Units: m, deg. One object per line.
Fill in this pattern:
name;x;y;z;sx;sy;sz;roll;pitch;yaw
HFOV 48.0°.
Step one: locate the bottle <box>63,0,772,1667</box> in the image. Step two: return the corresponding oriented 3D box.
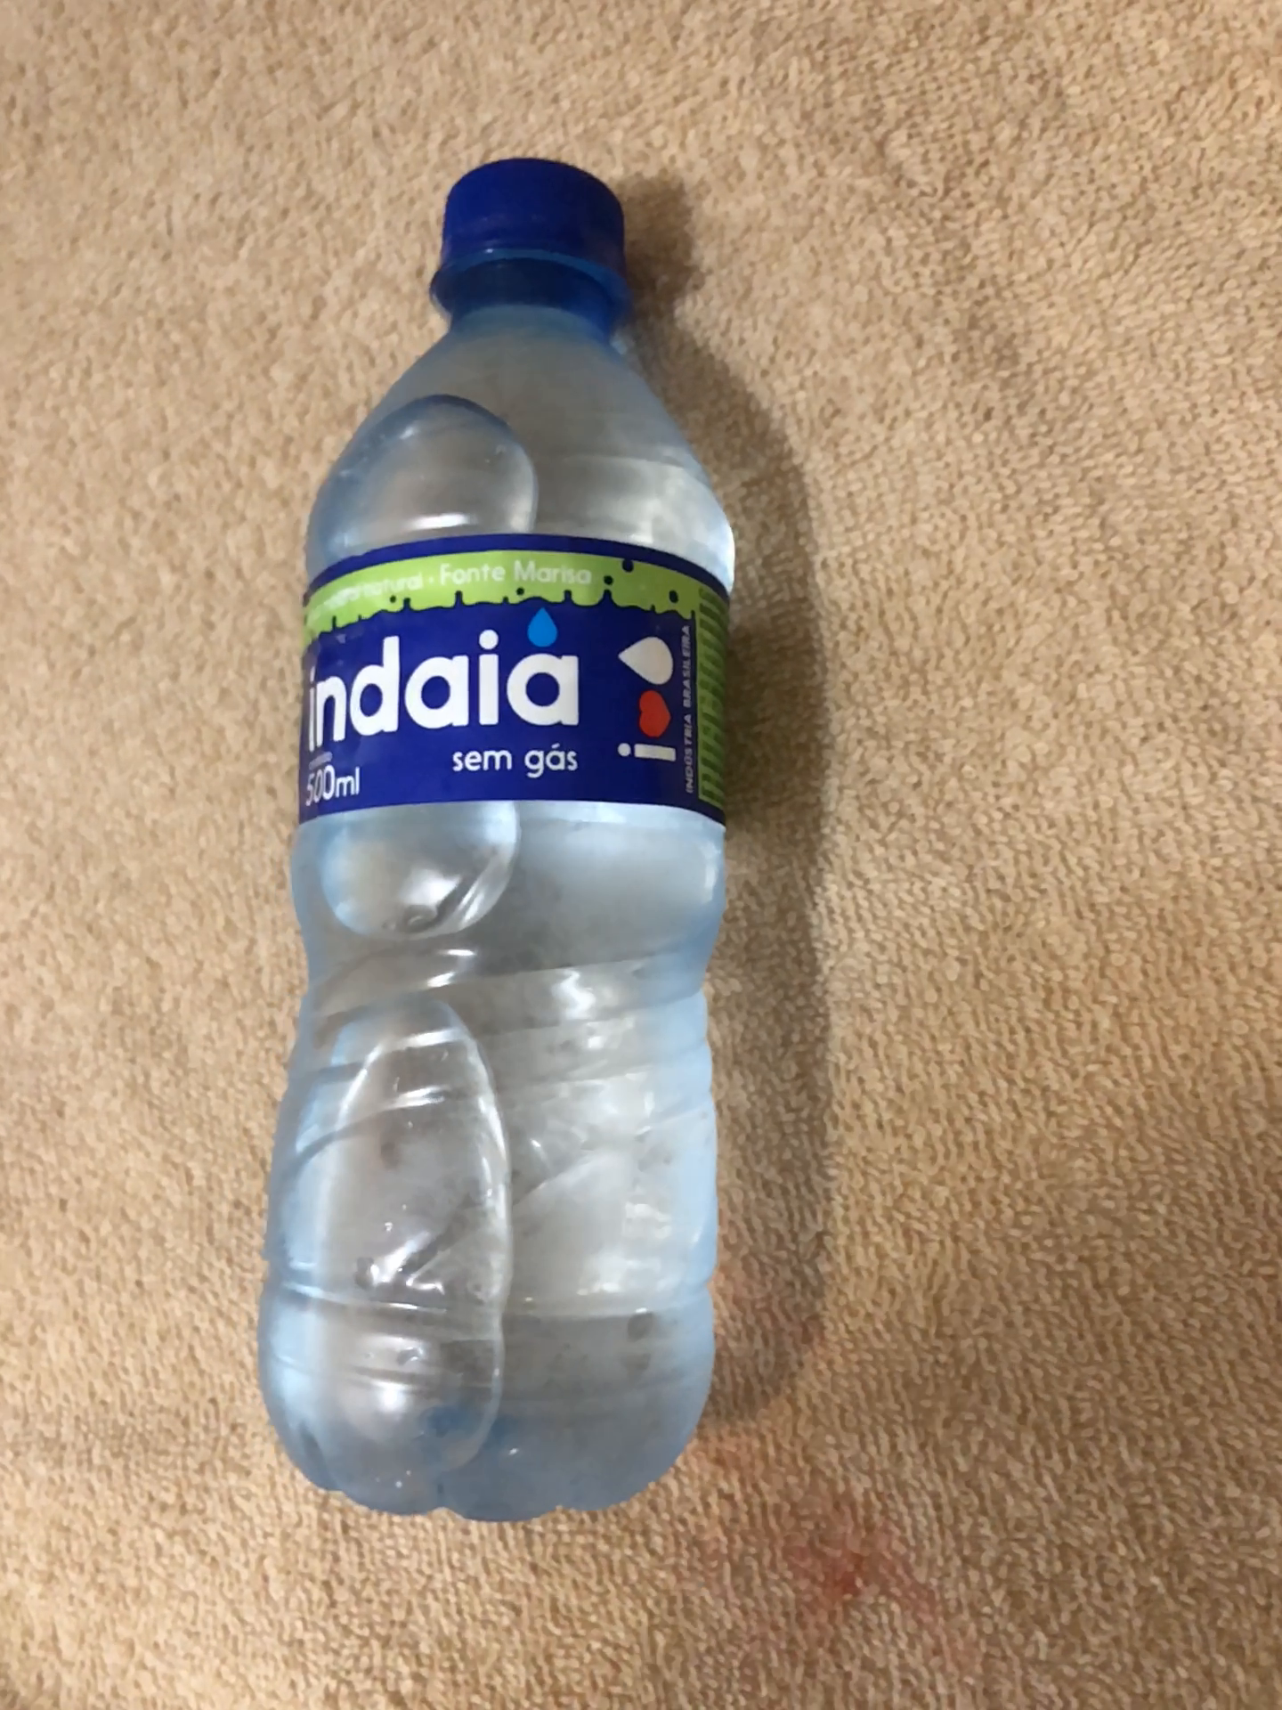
bottle;-0.029;-0.011;0.210;0.080;0.050;0.210;-5;80;27
